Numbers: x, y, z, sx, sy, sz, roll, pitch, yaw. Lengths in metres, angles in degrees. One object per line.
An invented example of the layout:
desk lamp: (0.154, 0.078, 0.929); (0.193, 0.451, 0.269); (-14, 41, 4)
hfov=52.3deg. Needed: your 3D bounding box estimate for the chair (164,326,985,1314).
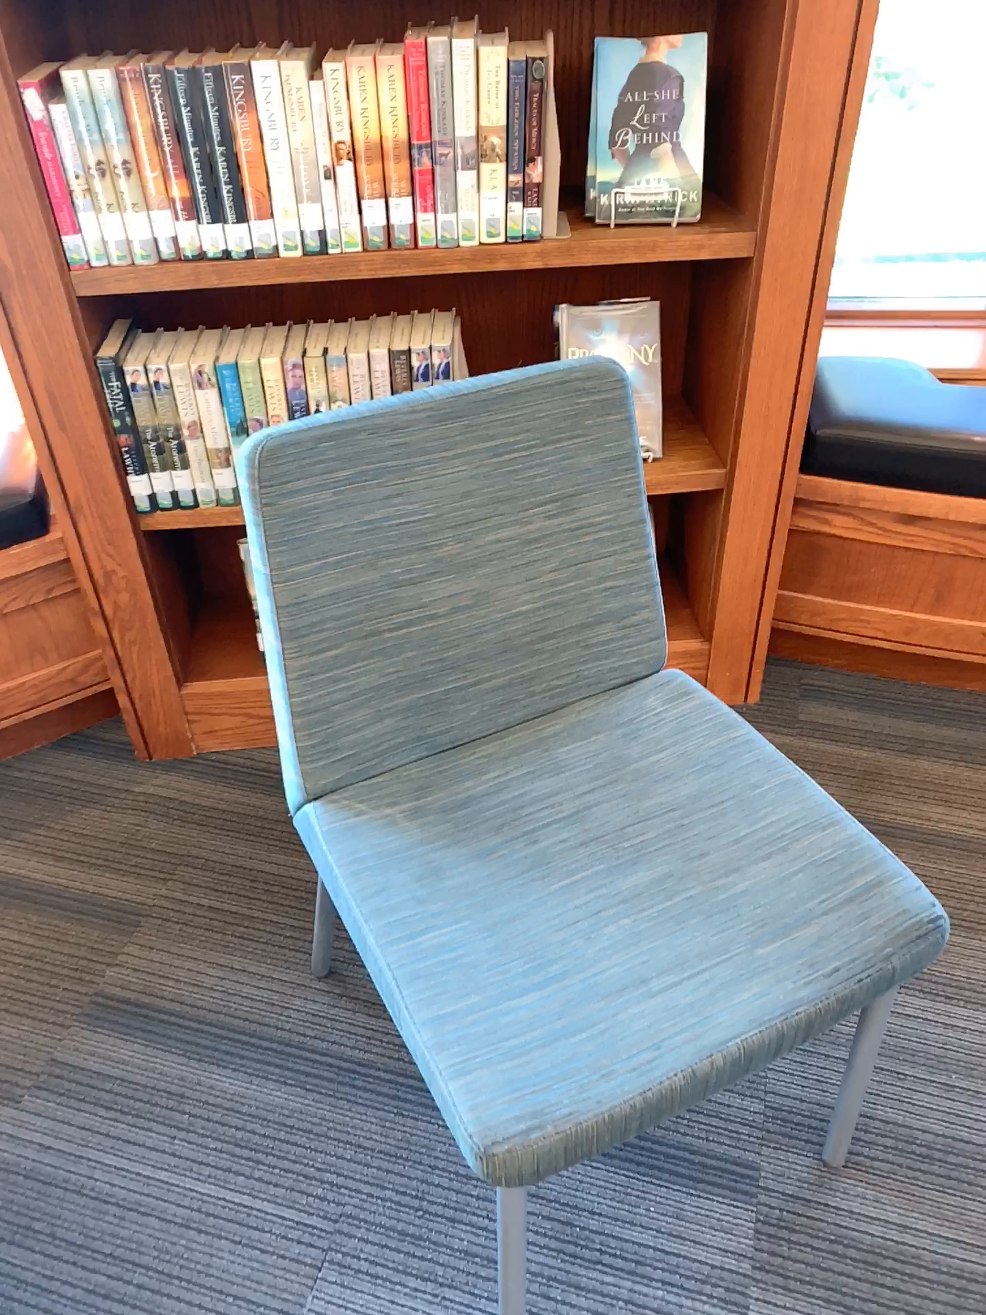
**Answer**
chair: (0.087, 0.186, 1.040); (0.550, 0.786, 0.592); (-18, 40, -20)
